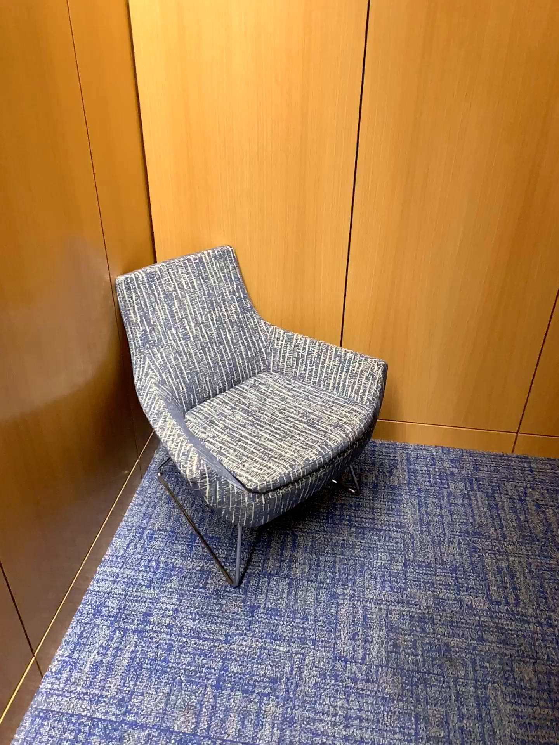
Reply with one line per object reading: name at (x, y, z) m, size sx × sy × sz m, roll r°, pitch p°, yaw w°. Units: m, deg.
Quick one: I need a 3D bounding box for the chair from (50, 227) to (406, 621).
chair at (-0.129, 0.084, 1.691) m, size 0.615 × 0.746 × 0.702 m, roll 27°, pitch 40°, yaw 36°
